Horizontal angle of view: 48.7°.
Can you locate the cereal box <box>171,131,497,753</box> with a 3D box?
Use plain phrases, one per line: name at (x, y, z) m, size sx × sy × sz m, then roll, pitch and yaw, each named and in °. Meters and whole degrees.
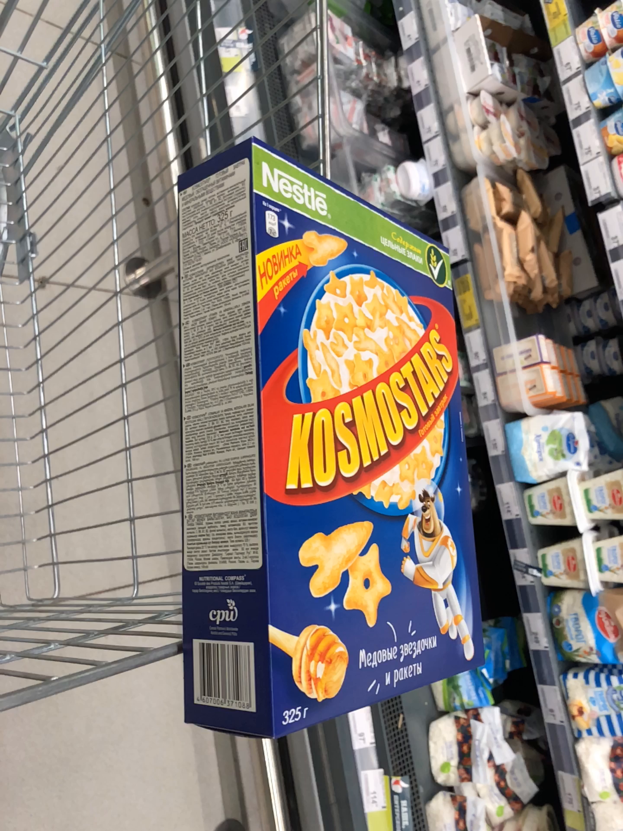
cereal box at (0.020, 0.015, 0.400) m, size 0.201 × 0.060 × 0.280 m, roll 9°, pitch 74°, yaw -48°
